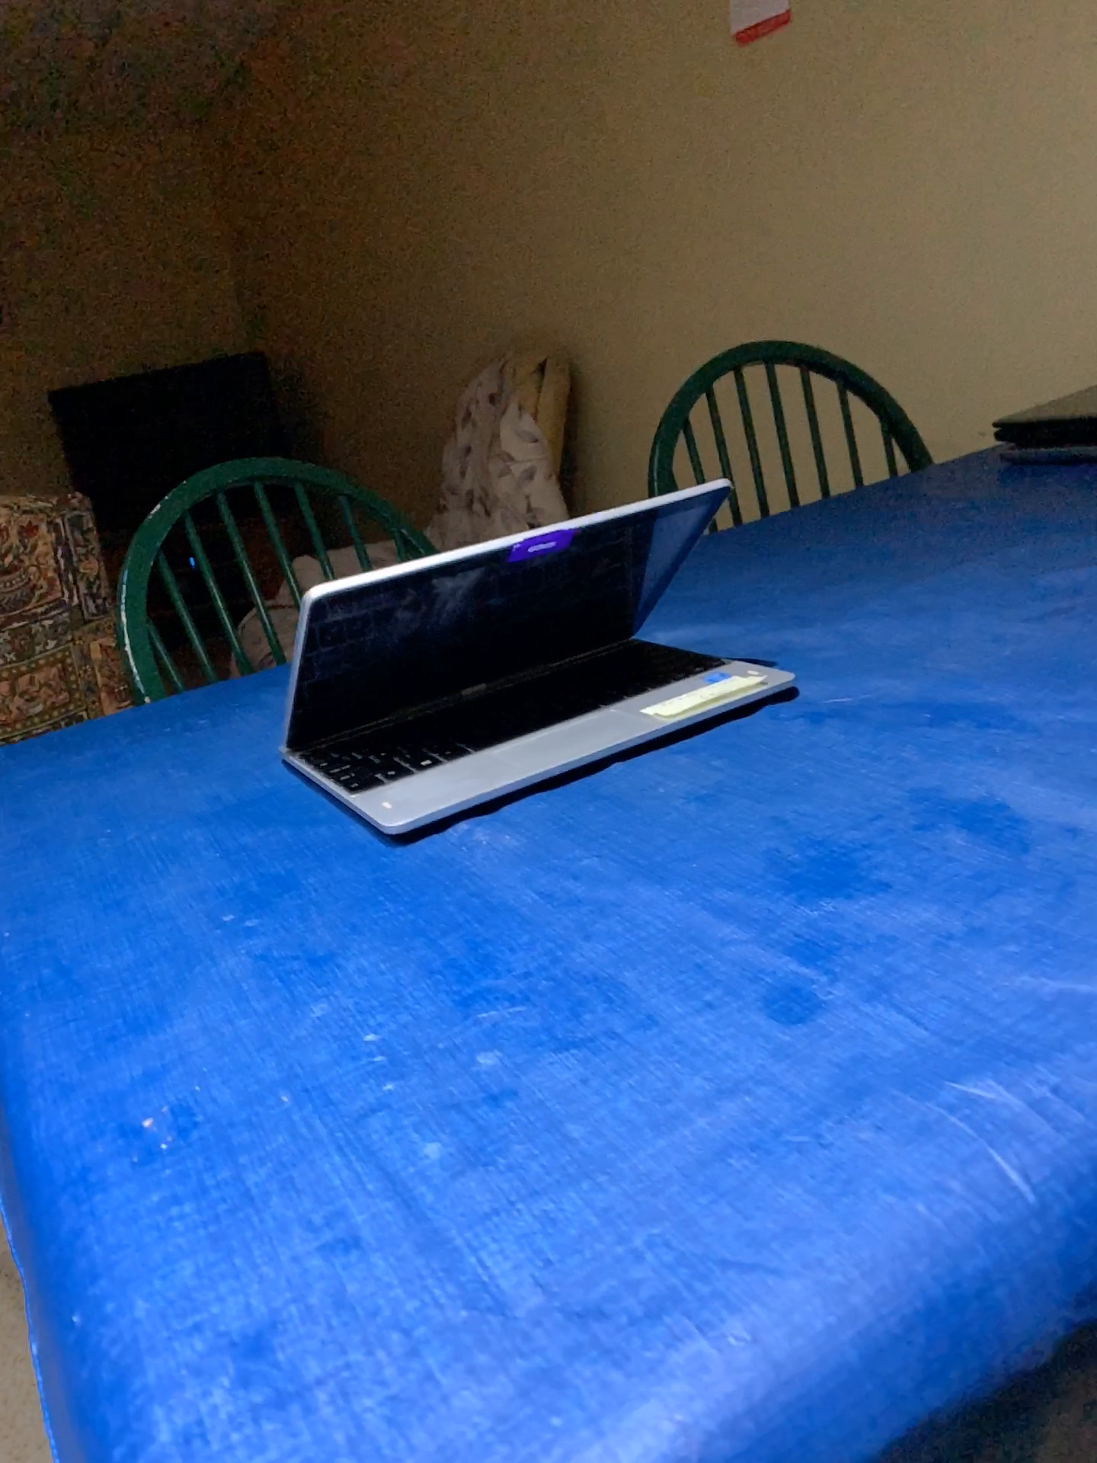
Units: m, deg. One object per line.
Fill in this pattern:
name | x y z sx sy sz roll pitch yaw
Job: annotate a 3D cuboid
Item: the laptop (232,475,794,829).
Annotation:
laptop | -0.026 -0.069 0.709 0.280 0.122 0.208 -19 19 -24
